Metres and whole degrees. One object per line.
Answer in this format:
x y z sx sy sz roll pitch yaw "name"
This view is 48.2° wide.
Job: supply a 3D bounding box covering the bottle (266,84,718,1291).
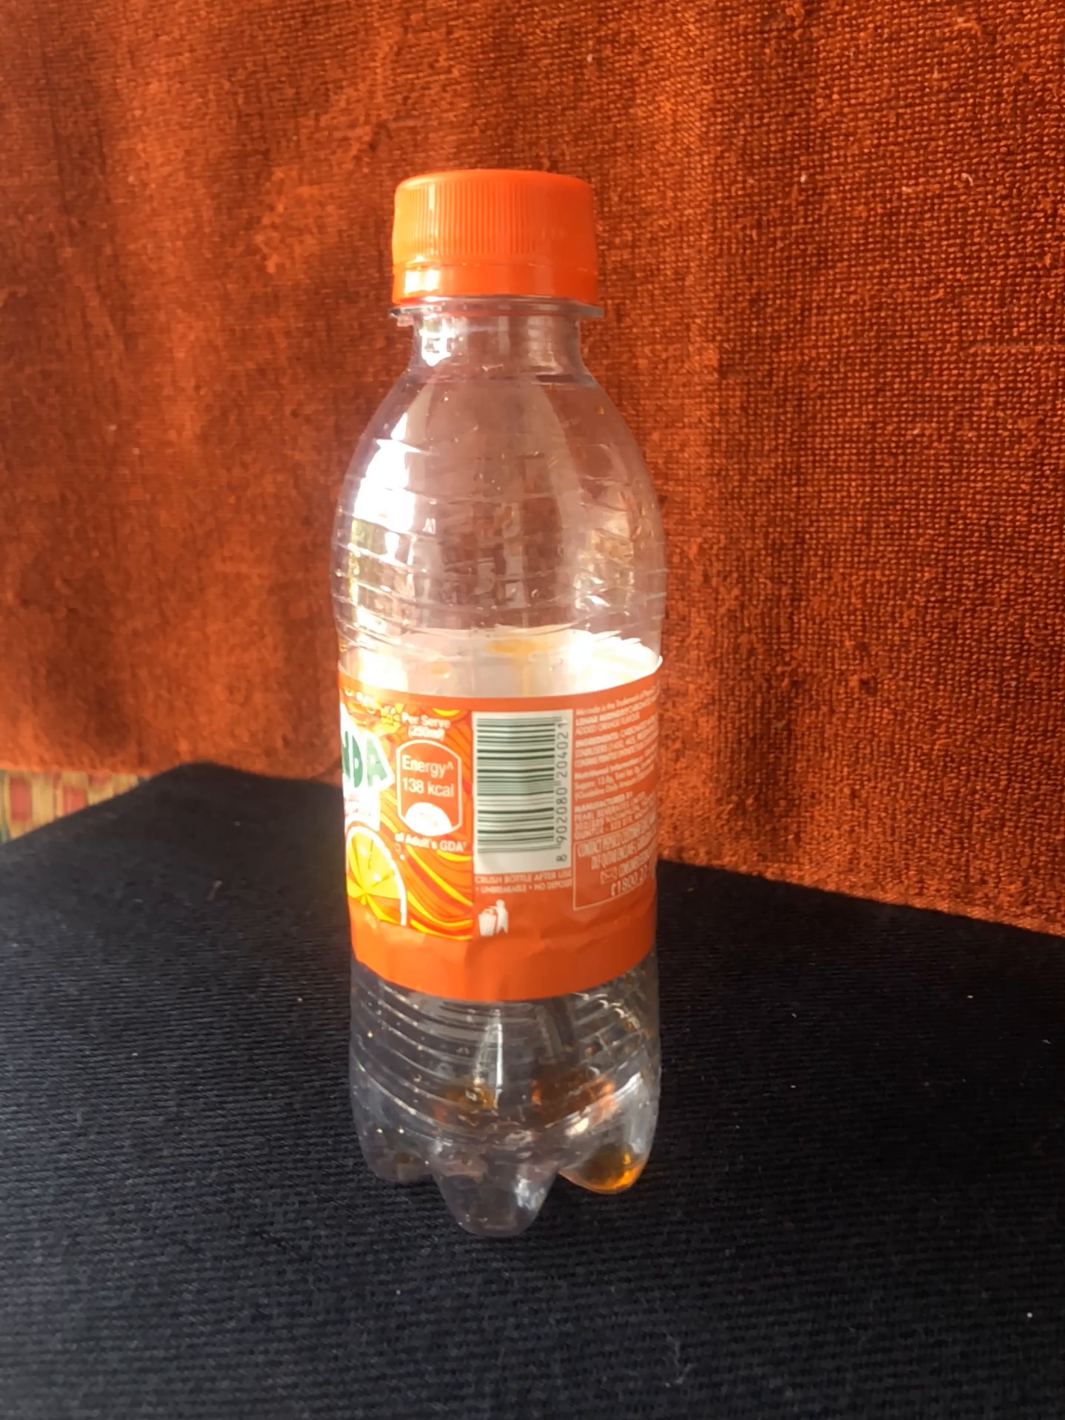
-0.007 -0.001 0.183 0.050 0.159 0.060 -3 18 -8 "bottle"
